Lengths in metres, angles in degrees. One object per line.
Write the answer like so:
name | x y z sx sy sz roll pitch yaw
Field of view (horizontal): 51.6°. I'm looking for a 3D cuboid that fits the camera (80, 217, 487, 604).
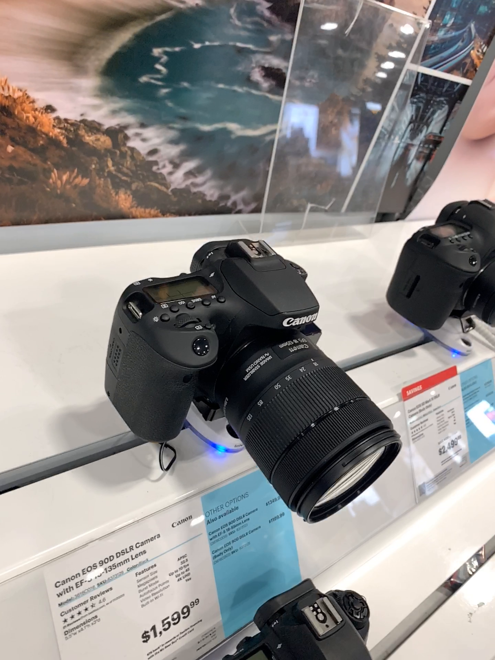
camera | 0.009 0.025 0.308 0.148 0.104 0.170 -14 47 -38
